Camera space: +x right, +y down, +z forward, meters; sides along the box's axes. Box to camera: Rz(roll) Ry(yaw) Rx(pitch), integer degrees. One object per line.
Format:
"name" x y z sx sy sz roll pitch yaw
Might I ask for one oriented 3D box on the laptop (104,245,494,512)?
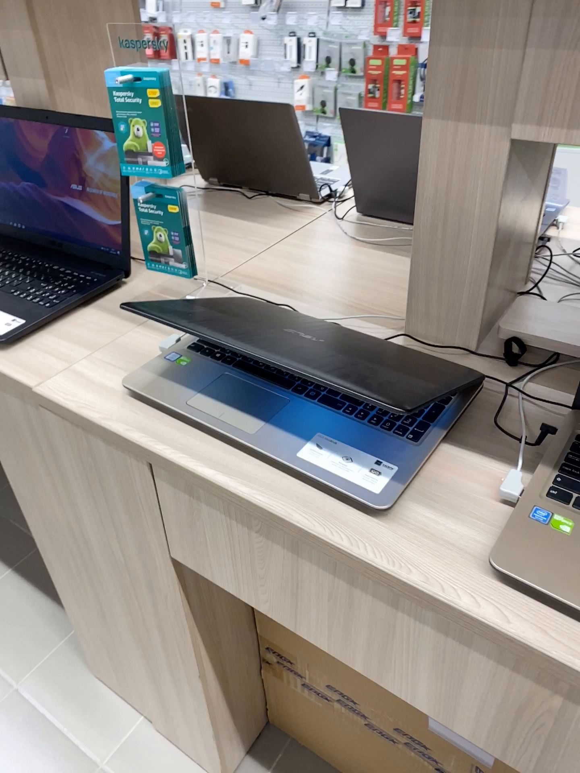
"laptop" 0.006 -0.042 0.708 0.383 0.094 0.240 22 44 30

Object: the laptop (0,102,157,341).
"laptop" -0.505 -0.302 0.978 0.421 0.235 0.318 20 42 30
